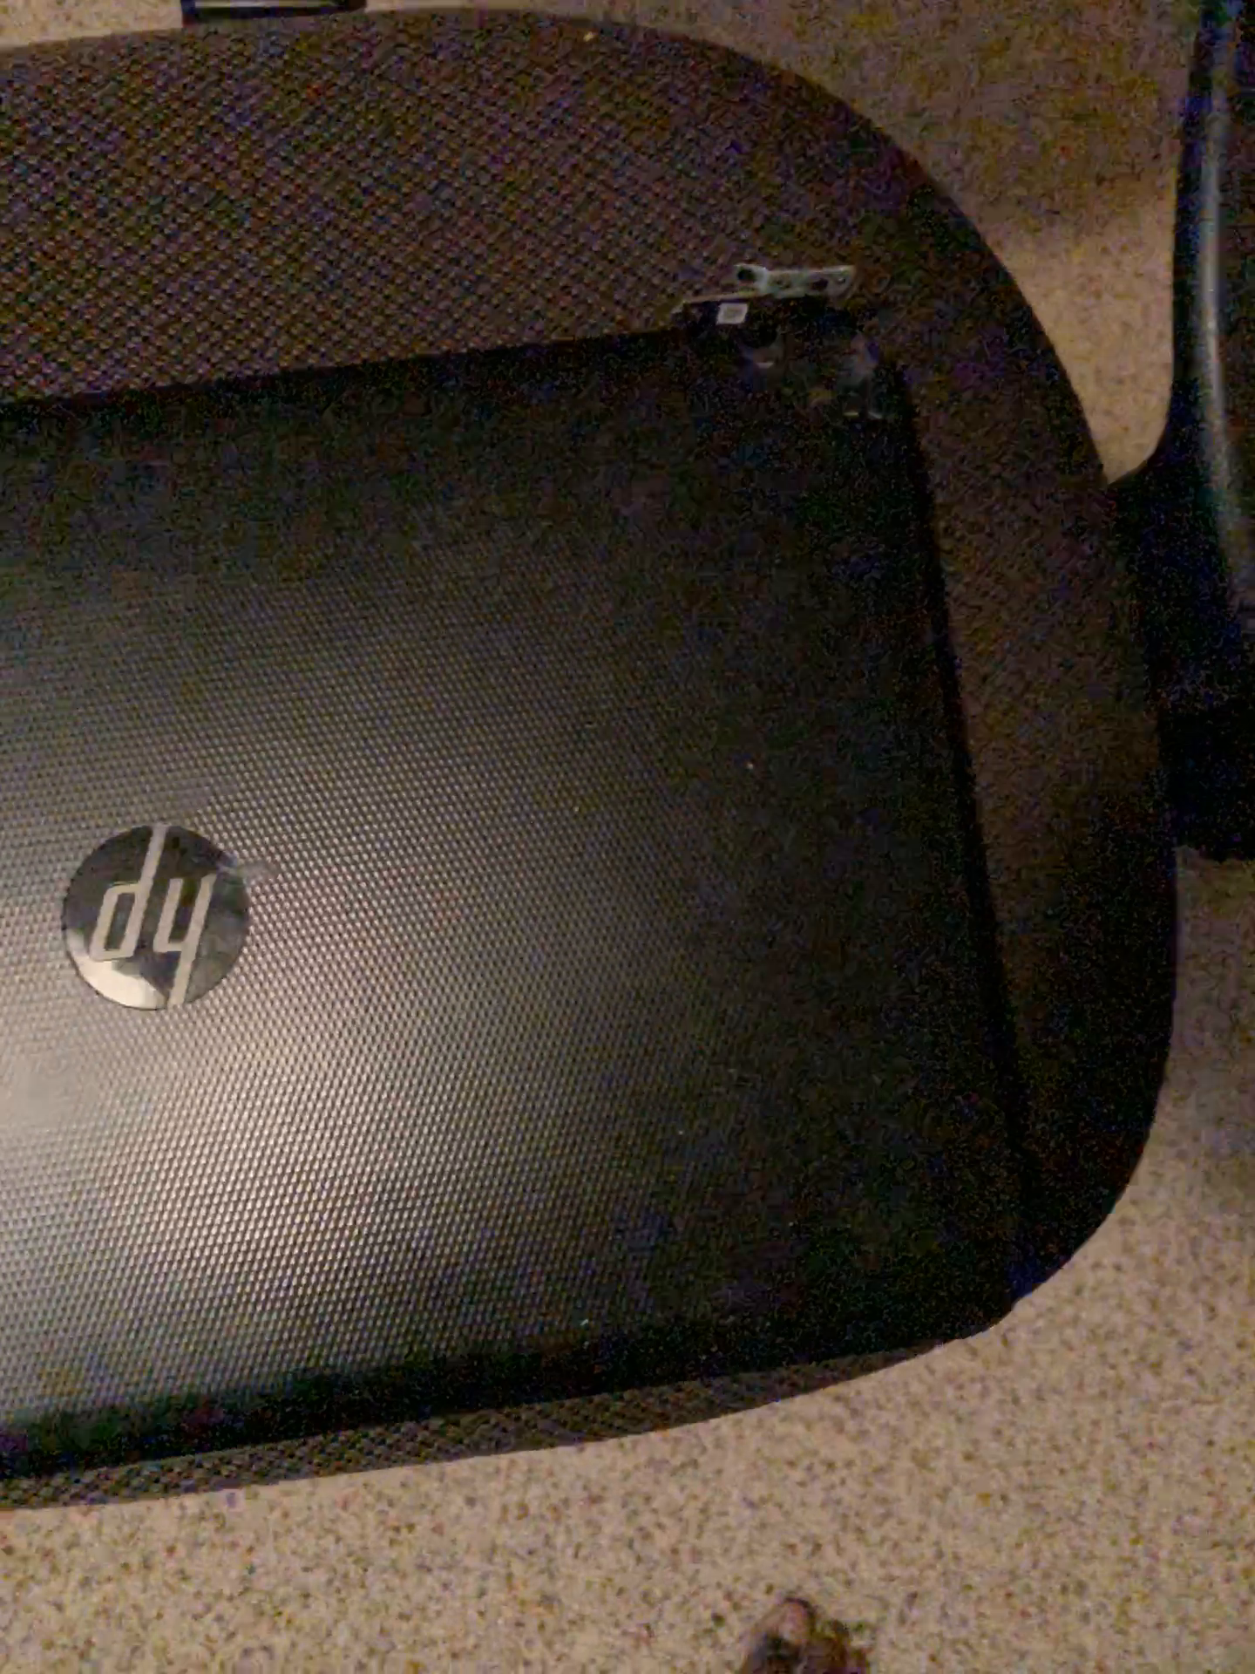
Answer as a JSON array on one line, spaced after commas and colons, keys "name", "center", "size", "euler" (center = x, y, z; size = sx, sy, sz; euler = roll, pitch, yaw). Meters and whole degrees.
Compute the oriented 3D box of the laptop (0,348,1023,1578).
[{"name": "laptop", "center": [-0.104, 0.014, 0.320], "size": [0.378, 0.018, 0.244], "euler": [-7, 84, -7]}]
